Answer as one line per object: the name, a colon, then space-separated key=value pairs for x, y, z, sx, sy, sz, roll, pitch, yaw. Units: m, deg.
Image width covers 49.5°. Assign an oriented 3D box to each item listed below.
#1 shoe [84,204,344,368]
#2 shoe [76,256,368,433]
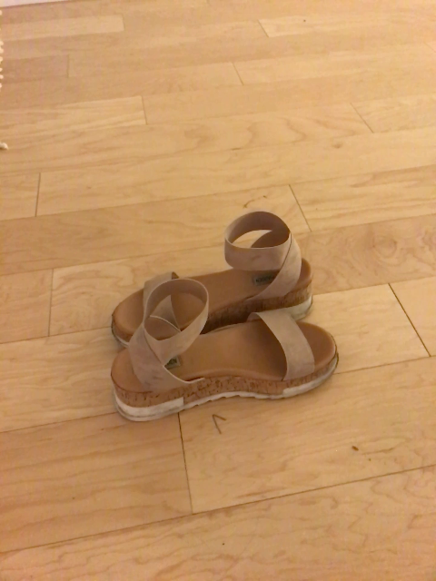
shoe: x=-0.009 y=-0.007 z=0.583 sx=0.280 sy=0.119 sz=0.111 roll=-9 pitch=49 yaw=-6
shoe: x=0.000 y=0.058 z=0.524 sx=0.280 sy=0.109 sz=0.111 roll=-8 pitch=49 yaw=-6
